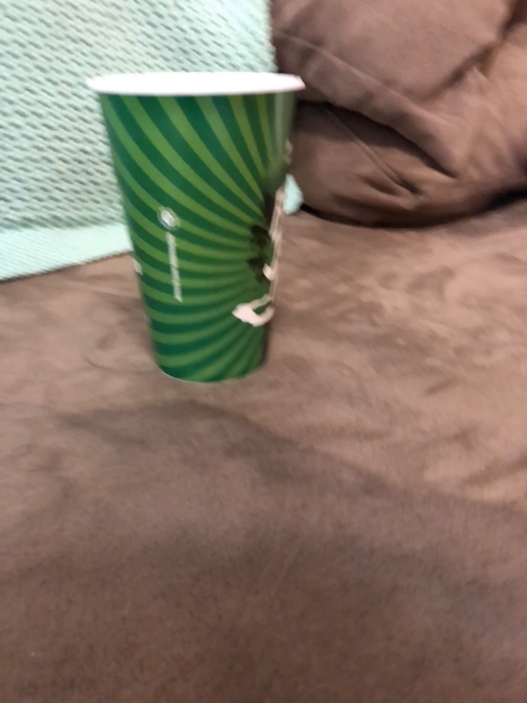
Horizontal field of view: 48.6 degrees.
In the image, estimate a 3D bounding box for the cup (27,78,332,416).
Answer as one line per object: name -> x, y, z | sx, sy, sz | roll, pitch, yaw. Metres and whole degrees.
cup -> -0.027, -0.057, 0.280 | 0.100, 0.129, 0.101 | -1, 26, 0
